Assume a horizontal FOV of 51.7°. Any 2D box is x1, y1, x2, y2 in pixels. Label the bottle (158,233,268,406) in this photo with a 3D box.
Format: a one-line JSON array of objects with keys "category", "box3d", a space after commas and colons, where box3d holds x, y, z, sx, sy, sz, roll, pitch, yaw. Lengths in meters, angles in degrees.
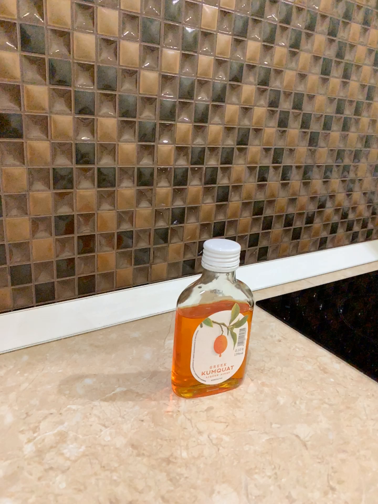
[{"category": "bottle", "box3d": [0.017, 0.055, 0.329, 0.070, 0.133, 0.040, -3, 21, -22]}]
